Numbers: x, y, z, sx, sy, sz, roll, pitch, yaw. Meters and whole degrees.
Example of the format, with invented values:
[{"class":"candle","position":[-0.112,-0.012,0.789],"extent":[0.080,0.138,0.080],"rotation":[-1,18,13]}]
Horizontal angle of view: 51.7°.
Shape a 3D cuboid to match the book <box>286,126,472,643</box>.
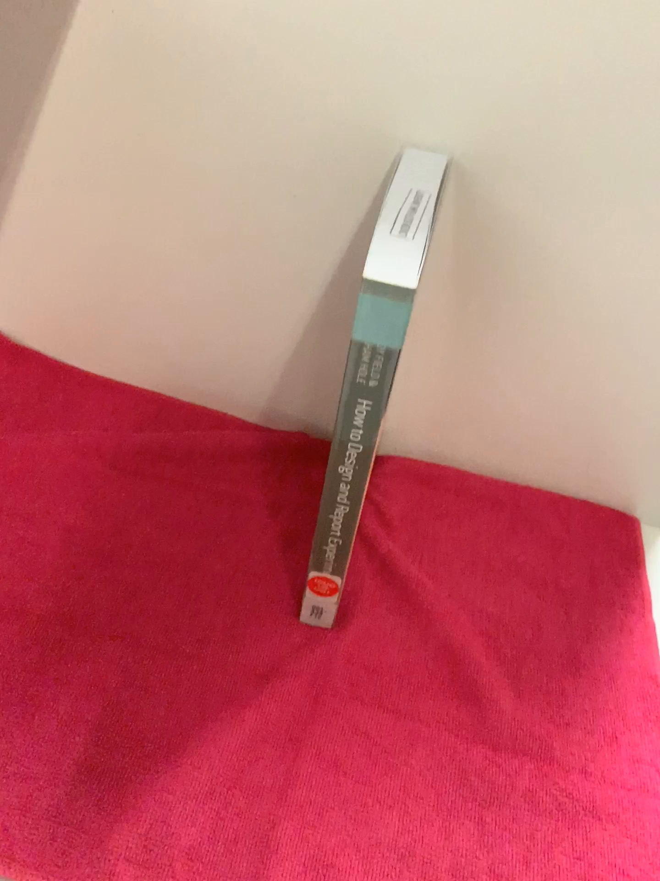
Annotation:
[{"class":"book","position":[0.029,-0.033,0.416],"extent":[0.040,0.248,0.192],"rotation":[14,40,4]}]
